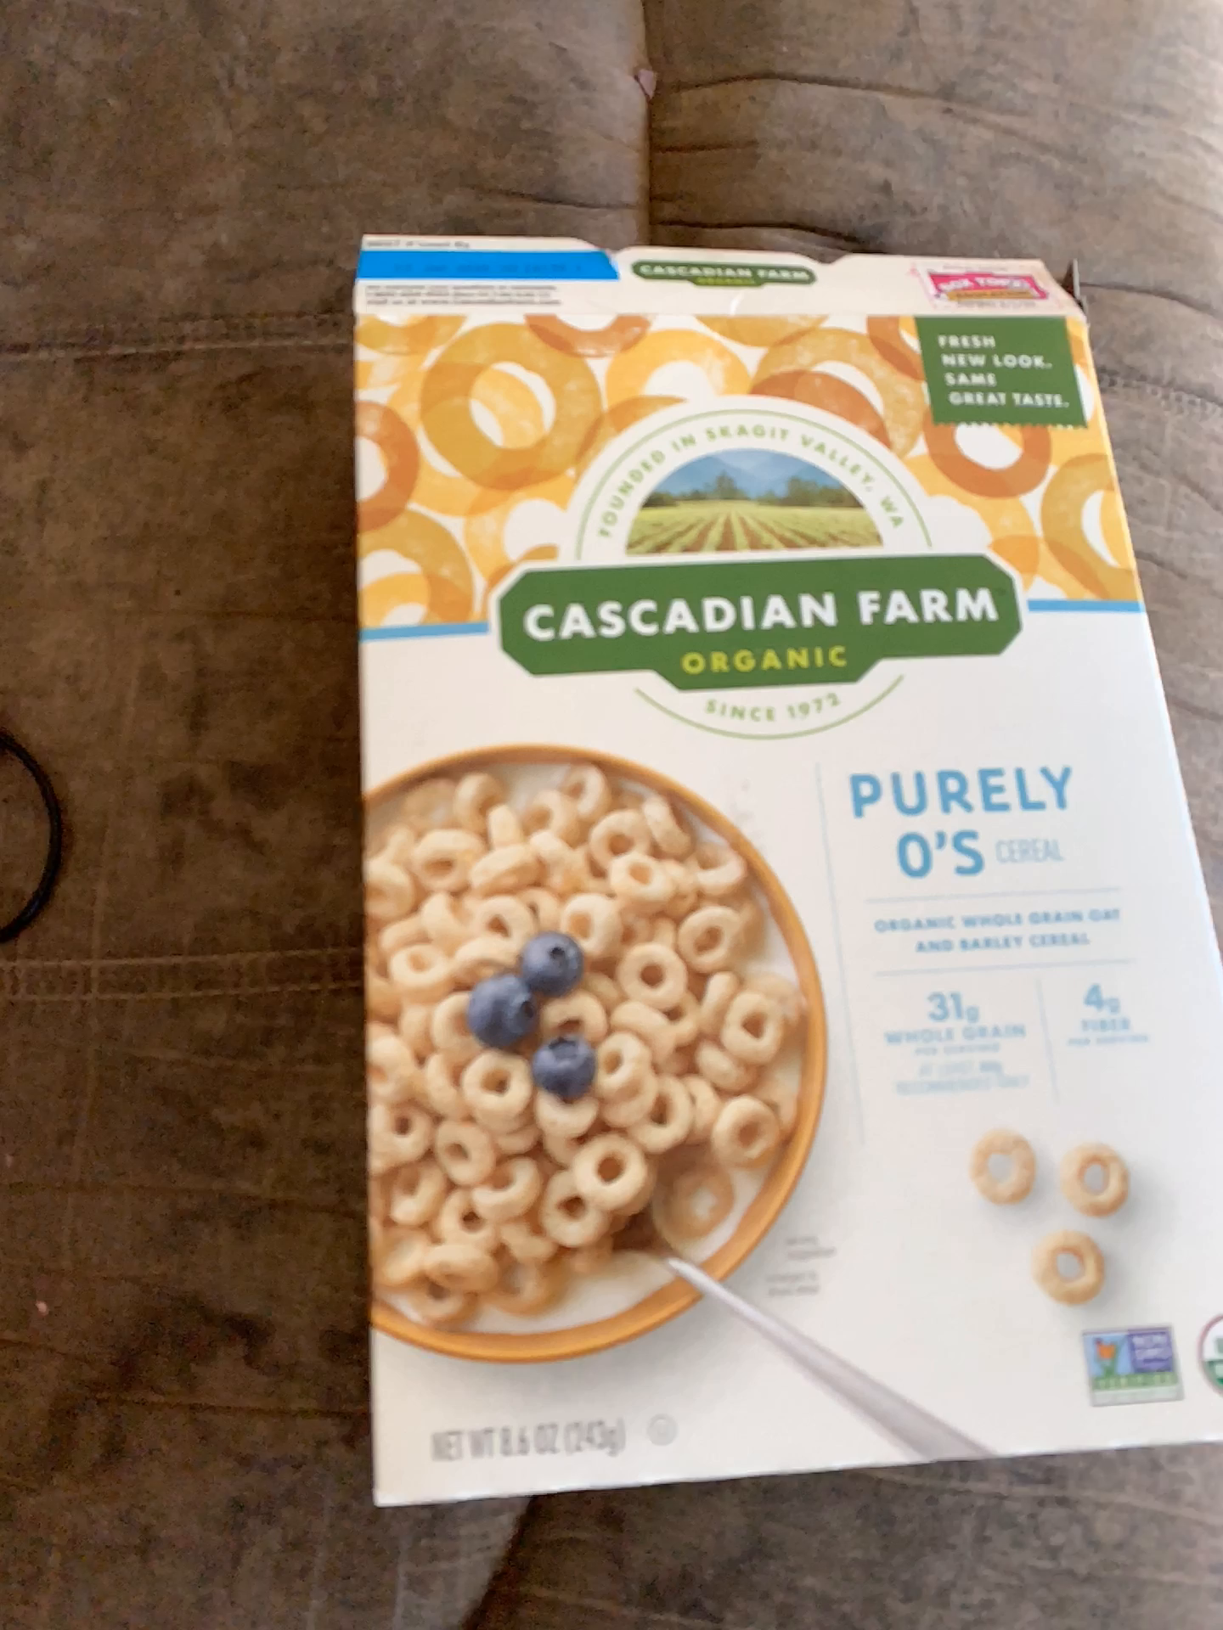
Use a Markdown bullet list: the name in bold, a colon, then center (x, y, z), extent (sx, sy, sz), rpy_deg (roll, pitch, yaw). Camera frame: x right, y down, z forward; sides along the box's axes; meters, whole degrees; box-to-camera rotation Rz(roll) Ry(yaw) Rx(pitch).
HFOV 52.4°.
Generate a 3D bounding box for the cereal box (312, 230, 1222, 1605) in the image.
- **cereal box**: center (0.041, 0.002, 0.285), extent (0.200, 0.070, 0.280), rpy_deg (-2, 70, -5)
